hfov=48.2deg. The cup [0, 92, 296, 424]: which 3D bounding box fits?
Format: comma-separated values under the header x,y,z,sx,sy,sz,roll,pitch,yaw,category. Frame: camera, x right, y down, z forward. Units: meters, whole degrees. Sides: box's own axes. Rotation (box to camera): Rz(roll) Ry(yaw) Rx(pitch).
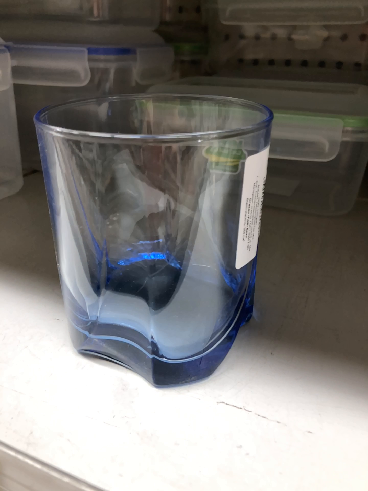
x,y,z,sx,sy,sz,roll,pitch,yaw,category
-0.013,-0.008,0.170,0.085,0.095,0.083,0,26,0,cup
